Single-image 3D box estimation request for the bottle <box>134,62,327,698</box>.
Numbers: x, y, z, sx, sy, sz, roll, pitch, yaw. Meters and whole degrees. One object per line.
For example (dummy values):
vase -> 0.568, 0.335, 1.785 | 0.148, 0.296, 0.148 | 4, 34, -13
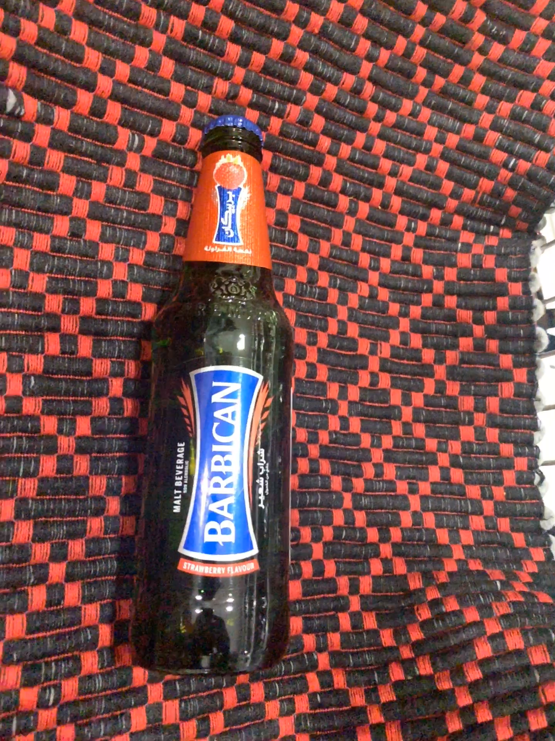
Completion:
bottle -> -0.022, -0.001, 0.235 | 0.060, 0.070, 0.220 | 3, 77, -13
